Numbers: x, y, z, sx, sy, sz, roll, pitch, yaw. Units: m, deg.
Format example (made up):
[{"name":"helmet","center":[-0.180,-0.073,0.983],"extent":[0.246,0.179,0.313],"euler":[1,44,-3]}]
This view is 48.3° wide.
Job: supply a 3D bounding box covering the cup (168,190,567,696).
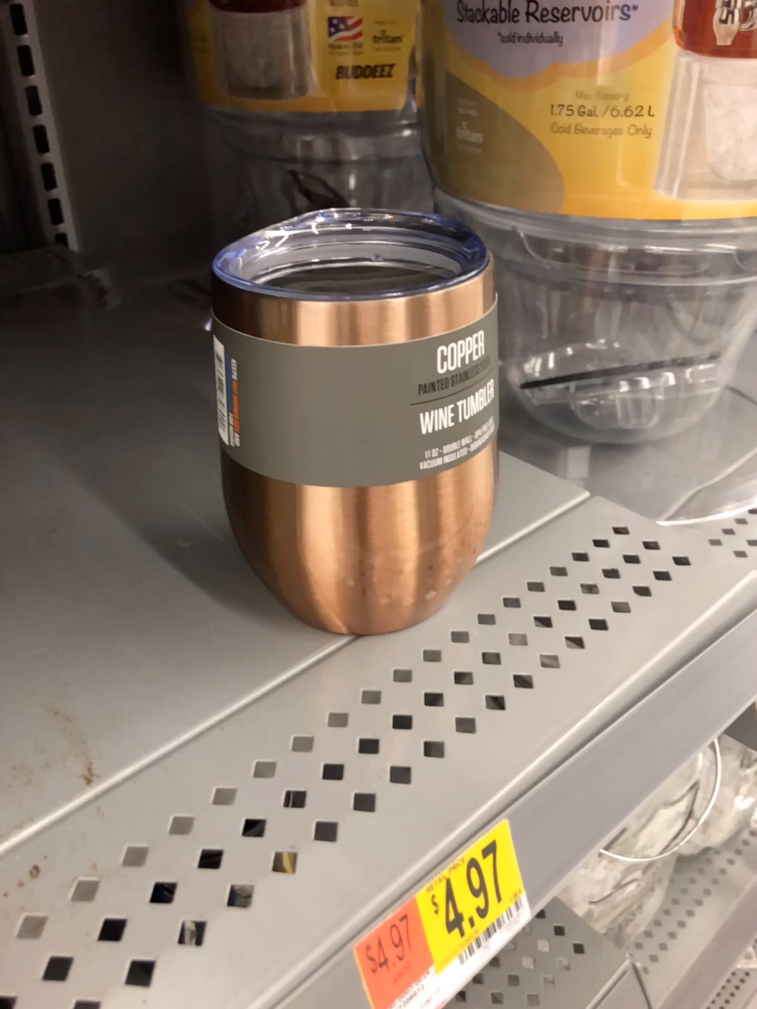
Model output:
[{"name":"cup","center":[-0.002,-0.023,0.267],"extent":[0.068,0.121,0.088],"euler":[28,42,35]}]
